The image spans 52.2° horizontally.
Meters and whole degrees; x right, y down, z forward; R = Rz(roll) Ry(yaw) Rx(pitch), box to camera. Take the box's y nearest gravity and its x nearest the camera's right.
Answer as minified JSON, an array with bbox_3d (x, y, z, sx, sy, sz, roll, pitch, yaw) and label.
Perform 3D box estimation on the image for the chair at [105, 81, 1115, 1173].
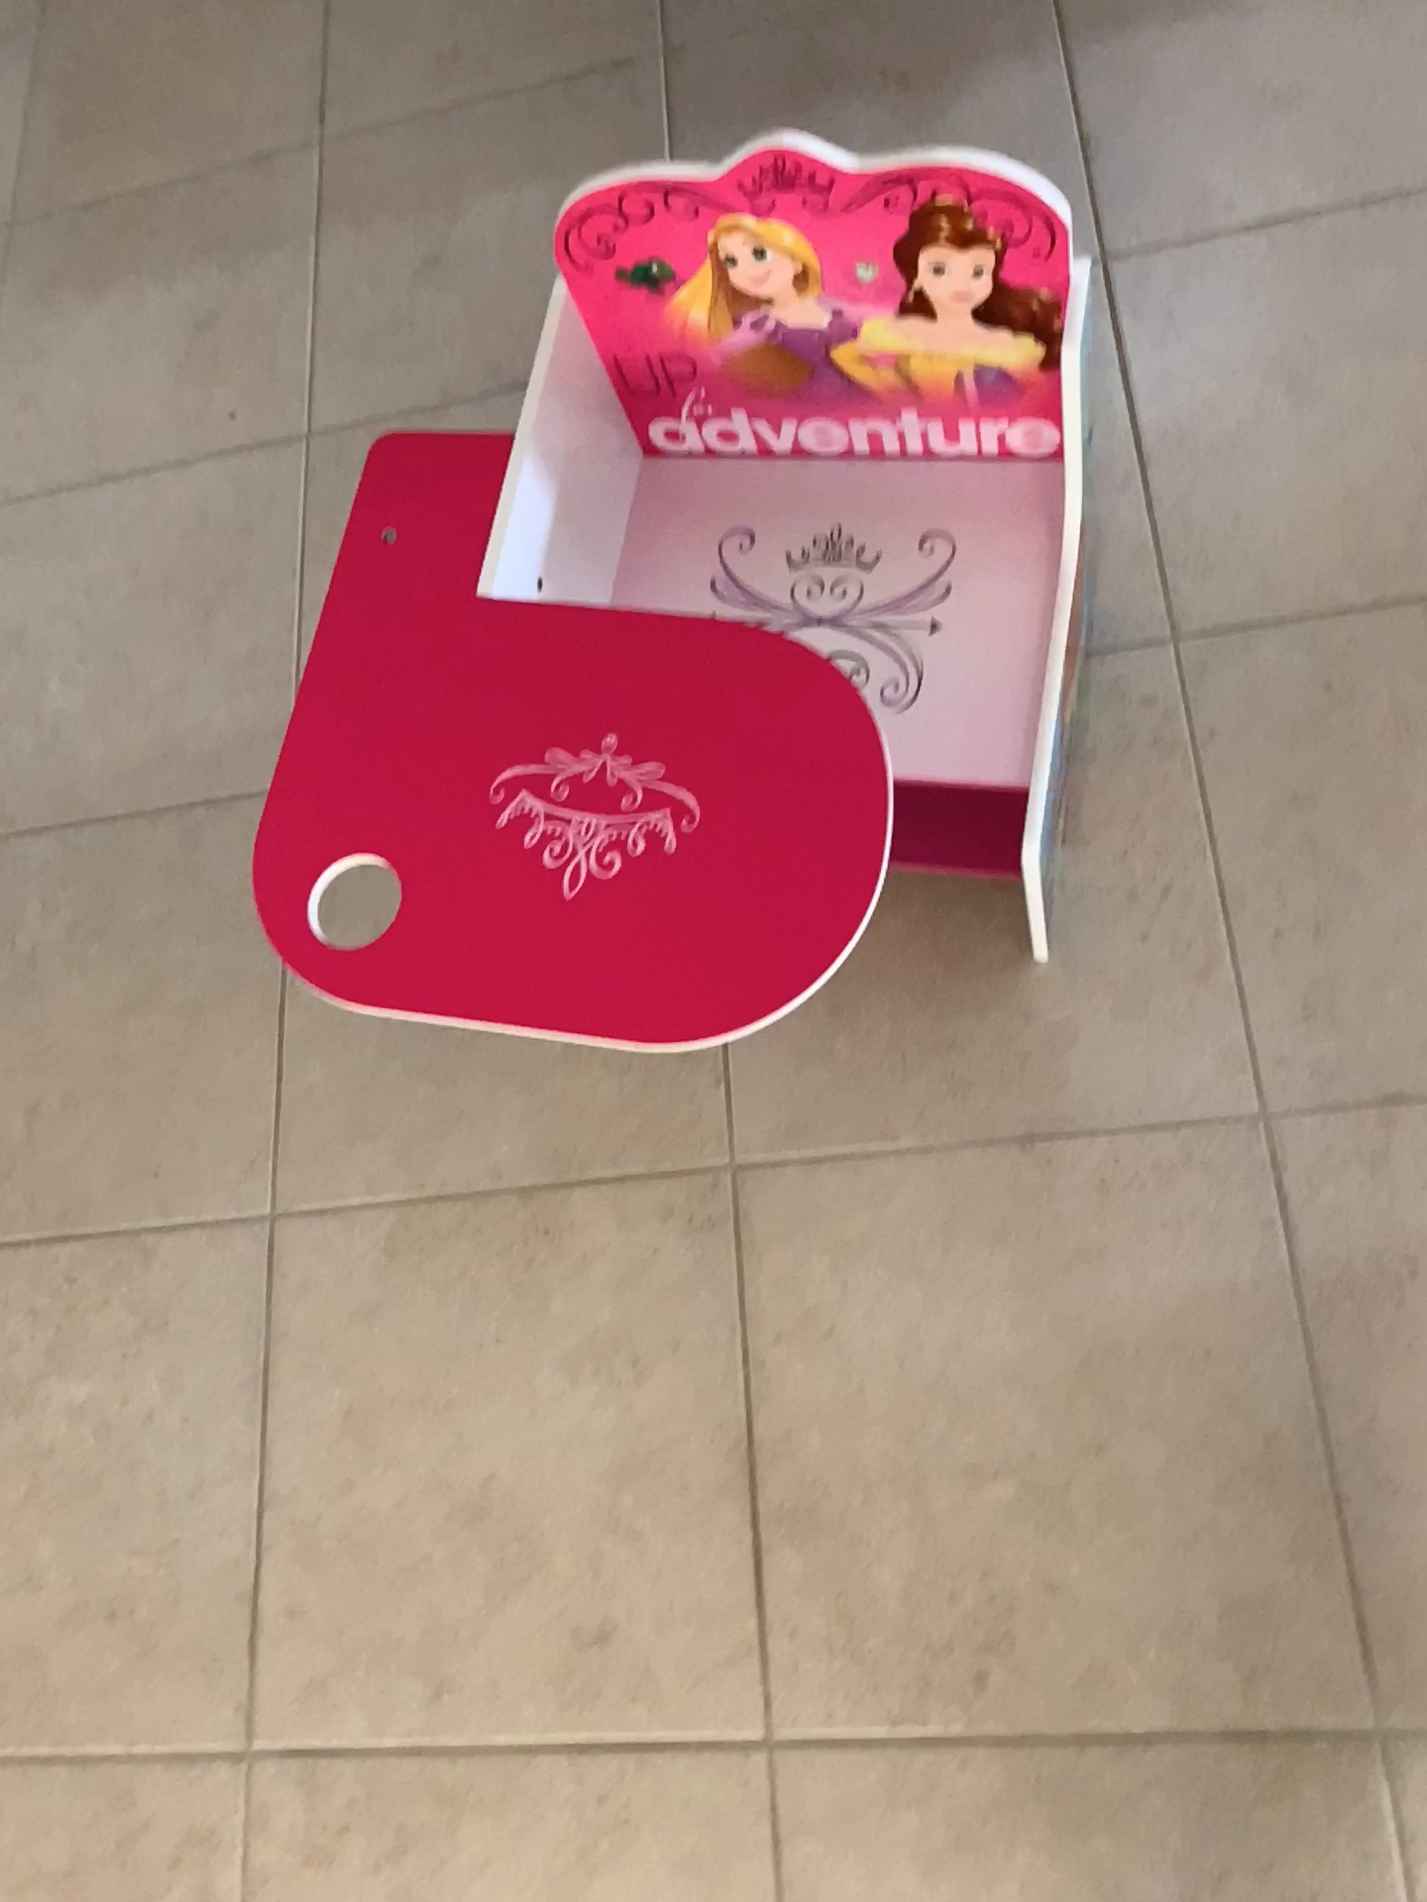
[{"bbox_3d":[0.011,-0.181,1.113,0.532,0.569,0.550,4,72,16],"label":"chair"}]
